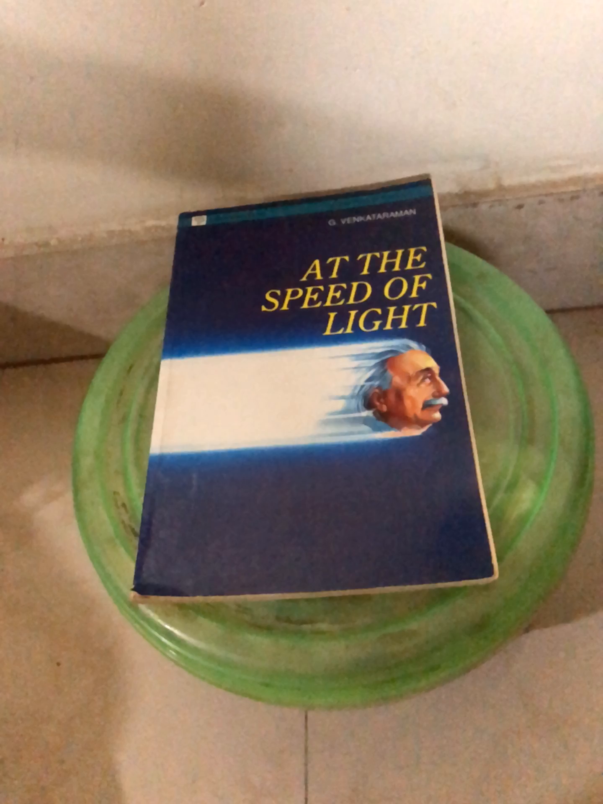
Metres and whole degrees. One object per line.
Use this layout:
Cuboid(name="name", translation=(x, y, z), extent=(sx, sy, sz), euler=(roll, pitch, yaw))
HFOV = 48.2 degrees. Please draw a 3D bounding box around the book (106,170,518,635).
Cuboid(name="book", translation=(0.000, -0.016, 0.315), extent=(0.150, 0.020, 0.230), euler=(-6, 56, 6))
